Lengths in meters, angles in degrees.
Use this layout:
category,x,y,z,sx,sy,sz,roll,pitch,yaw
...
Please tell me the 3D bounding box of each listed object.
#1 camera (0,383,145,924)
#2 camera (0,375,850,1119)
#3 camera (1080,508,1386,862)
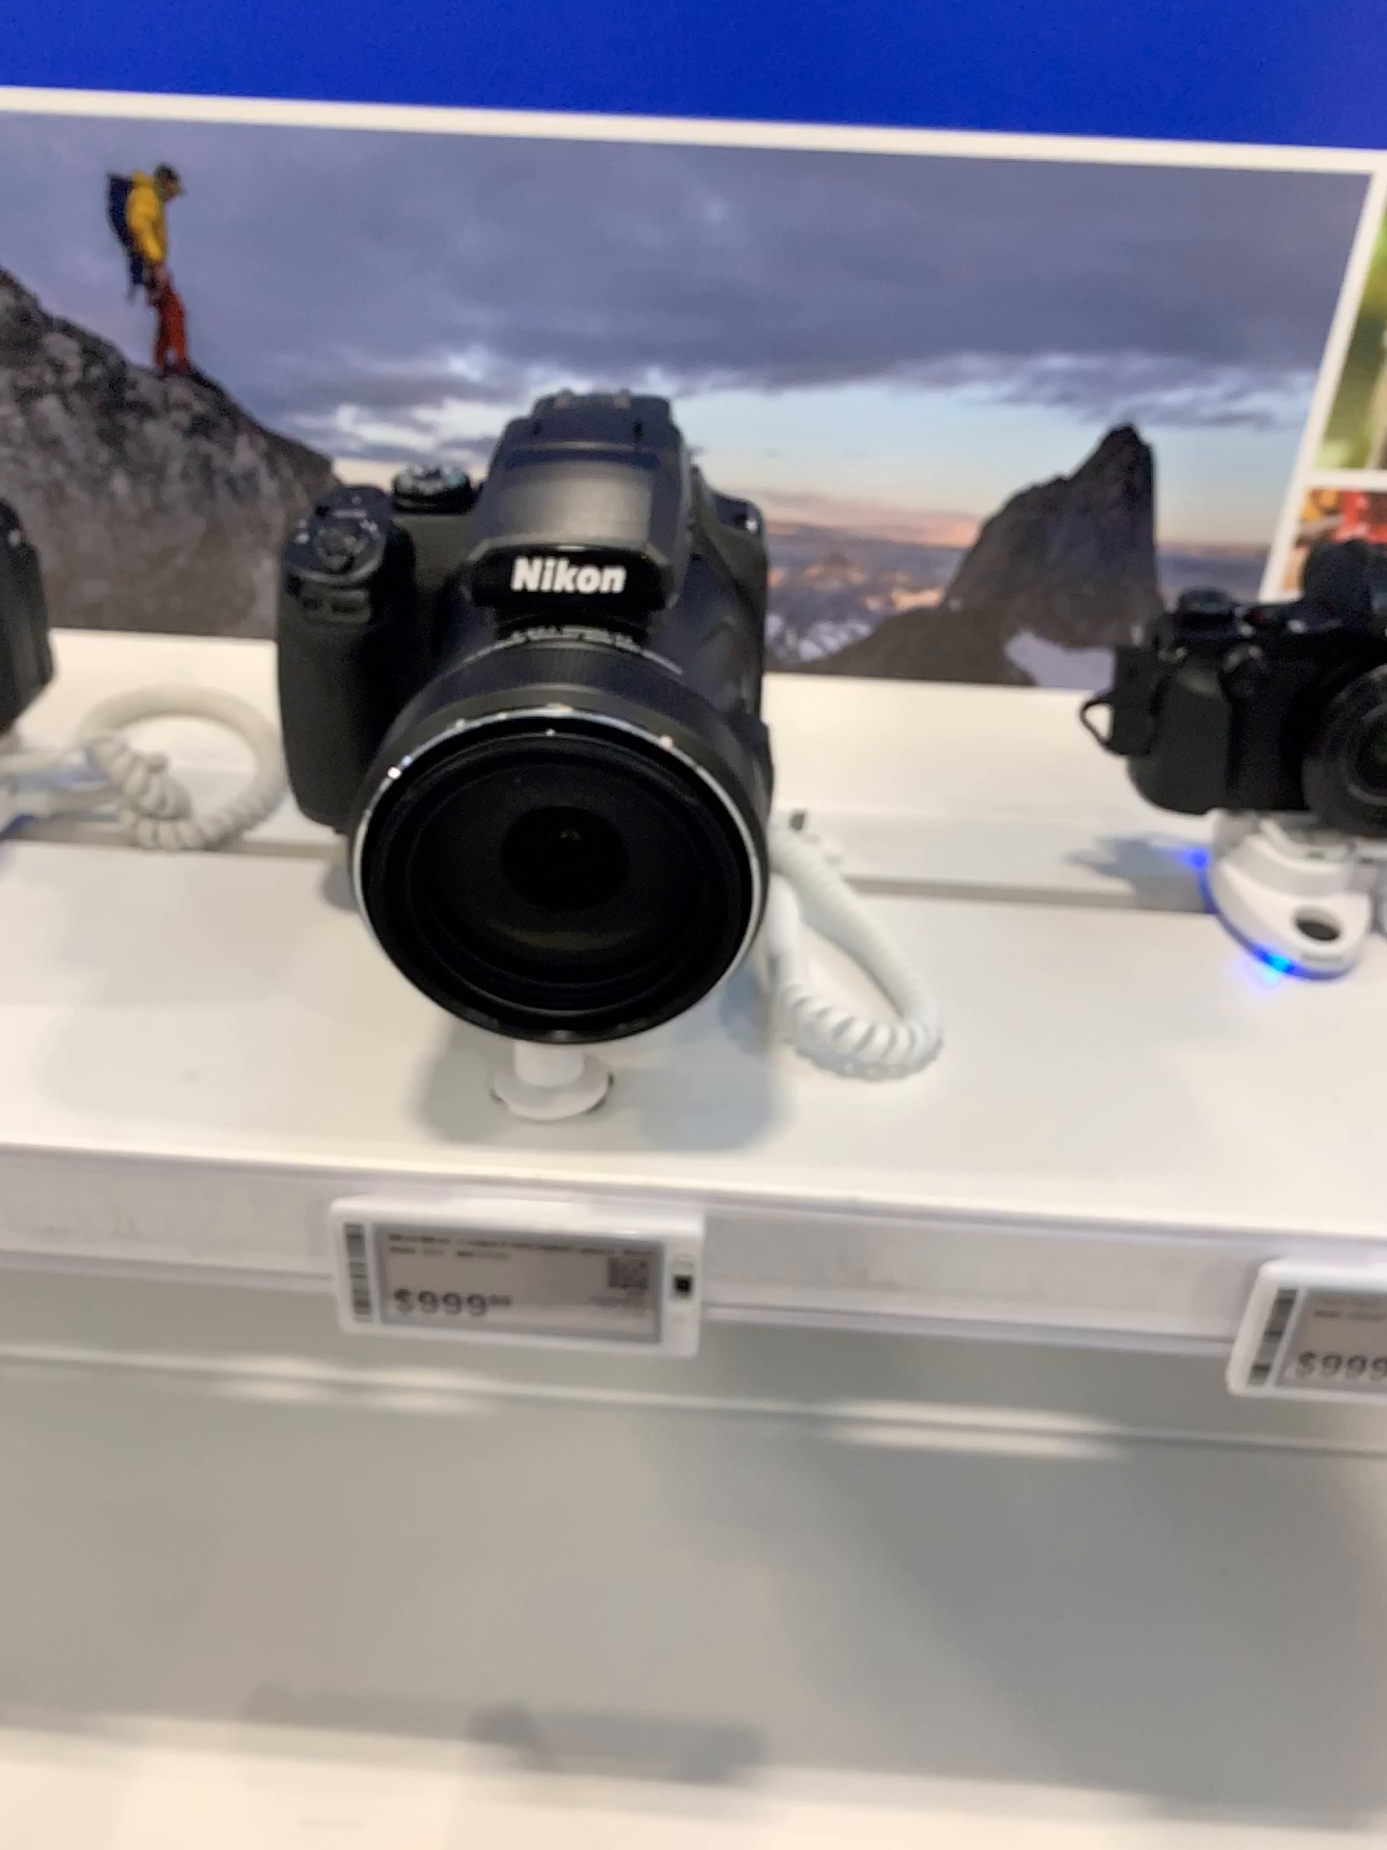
category,x,y,z,sx,sy,sz,roll,pitch,yaw
camera,-0.275,-0.087,0.422,0.160,0.099,0.151,3,31,2
camera,-0.049,-0.065,0.391,0.160,0.109,0.221,3,32,1
camera,0.194,-0.074,0.449,0.120,0.089,0.060,0,31,-3
